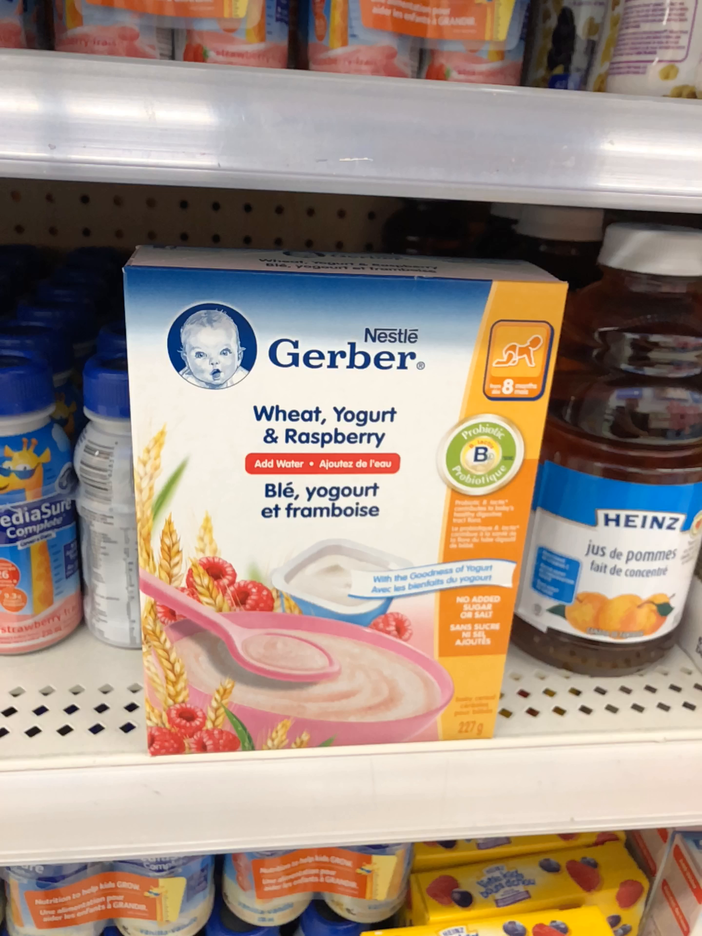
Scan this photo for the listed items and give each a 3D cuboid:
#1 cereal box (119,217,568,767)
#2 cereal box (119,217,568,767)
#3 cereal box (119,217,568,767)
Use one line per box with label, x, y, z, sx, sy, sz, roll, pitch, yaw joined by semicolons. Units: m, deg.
cereal box;-0.010;0.014;0.300;0.140;0.199;0.050;1;21;-9
cereal box;-0.010;0.014;0.300;0.140;0.199;0.050;1;21;-9
cereal box;-0.010;0.014;0.300;0.140;0.199;0.050;1;21;-9
